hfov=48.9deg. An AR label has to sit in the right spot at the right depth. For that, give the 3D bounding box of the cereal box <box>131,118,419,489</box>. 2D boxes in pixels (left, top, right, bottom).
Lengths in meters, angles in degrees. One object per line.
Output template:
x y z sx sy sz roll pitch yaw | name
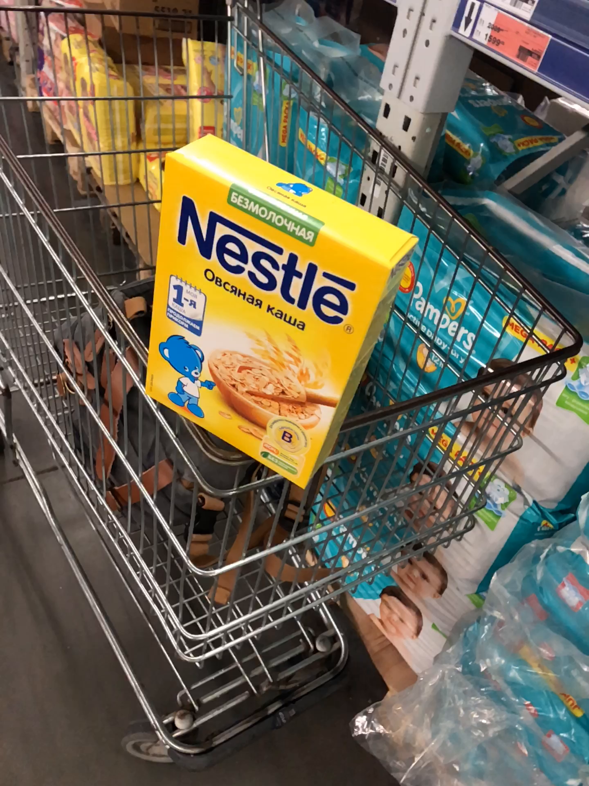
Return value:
-0.028 -0.047 0.422 0.150 0.199 0.040 29 44 12 | cereal box
